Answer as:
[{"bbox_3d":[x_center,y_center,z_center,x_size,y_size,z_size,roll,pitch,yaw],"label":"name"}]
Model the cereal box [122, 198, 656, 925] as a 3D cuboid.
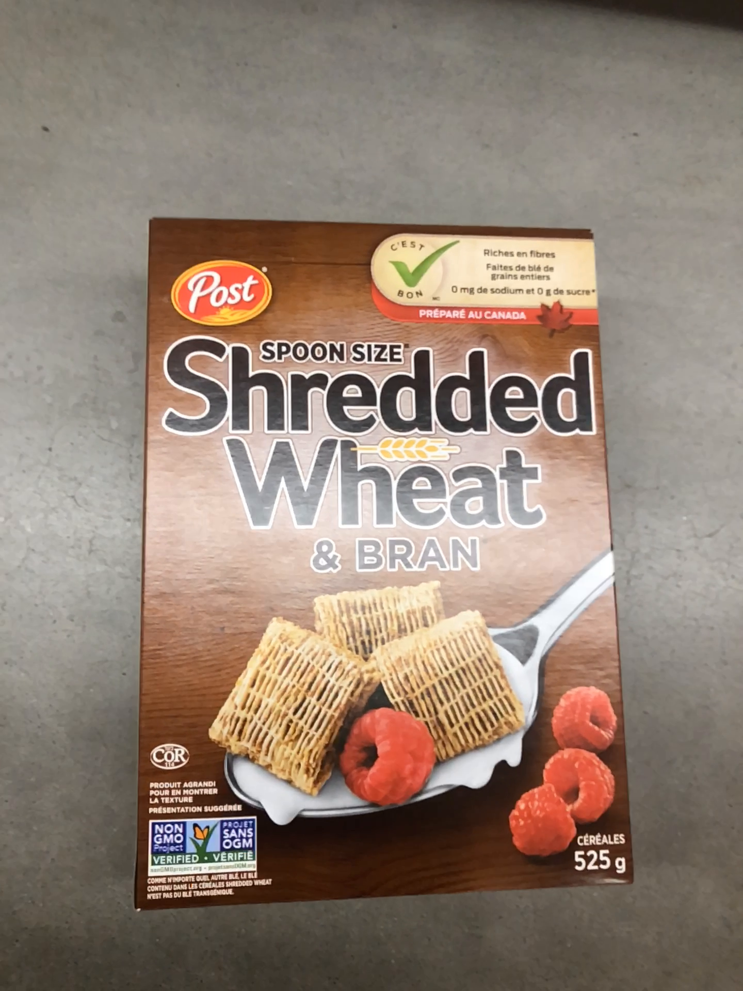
[{"bbox_3d":[0.003,0.021,0.361,0.200,0.070,0.280,-1,82,-5],"label":"cereal box"}]
